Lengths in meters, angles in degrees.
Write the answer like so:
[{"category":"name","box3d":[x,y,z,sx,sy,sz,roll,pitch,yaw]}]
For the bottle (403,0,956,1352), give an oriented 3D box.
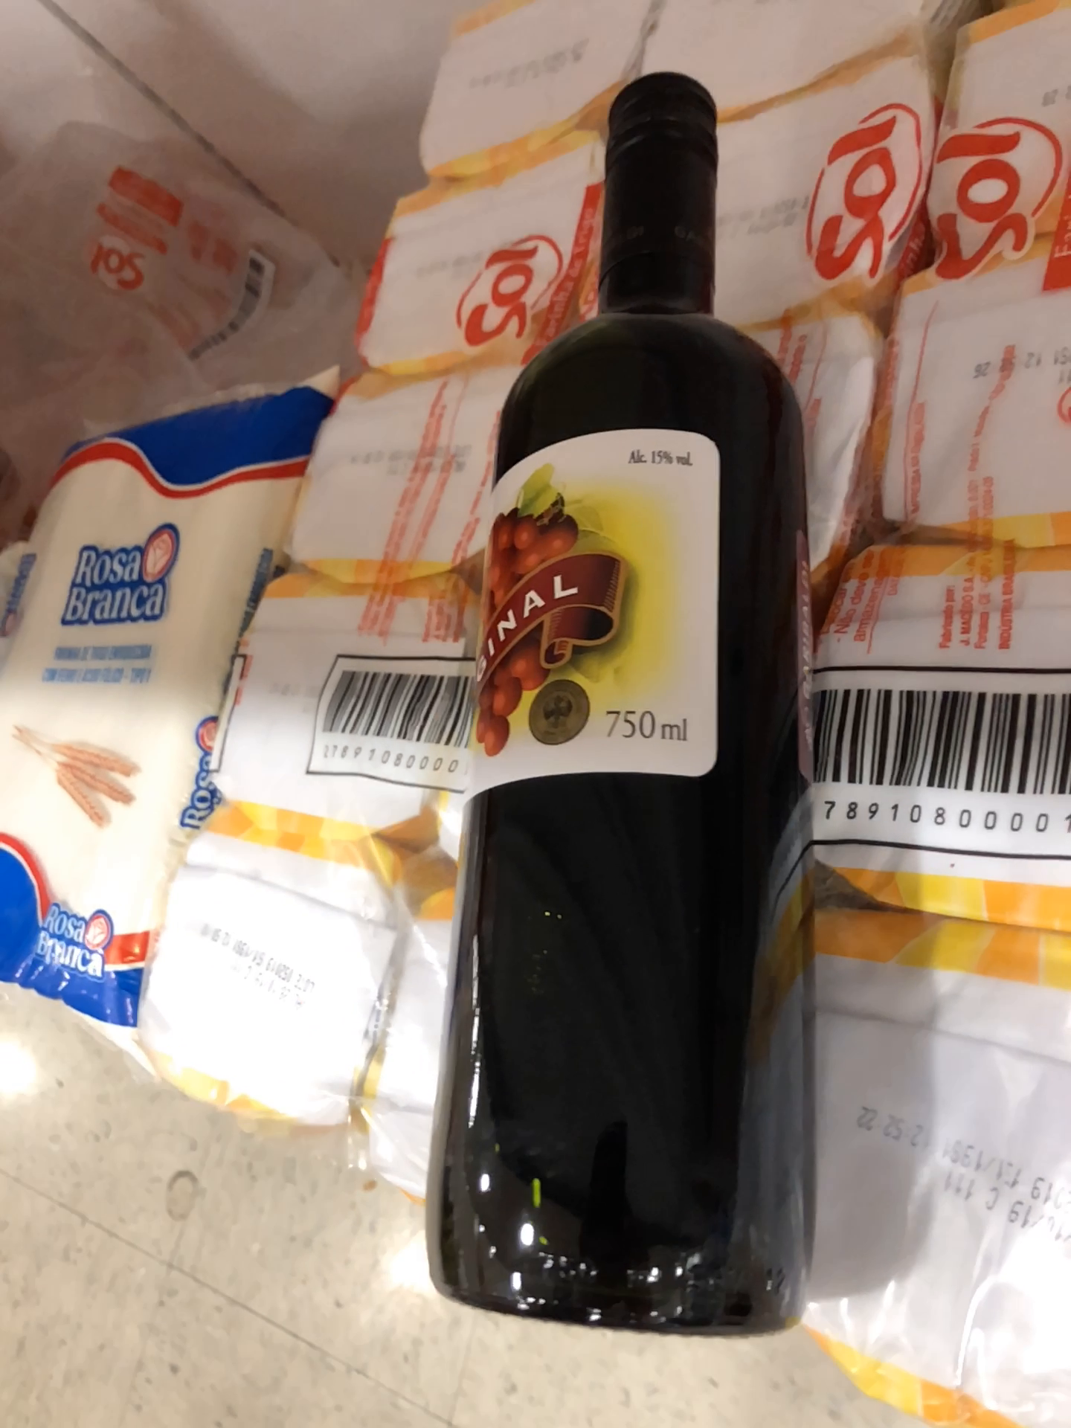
[{"category":"bottle","box3d":[0.038,-0.036,0.283,0.080,0.070,0.321,-28,51,56]}]
